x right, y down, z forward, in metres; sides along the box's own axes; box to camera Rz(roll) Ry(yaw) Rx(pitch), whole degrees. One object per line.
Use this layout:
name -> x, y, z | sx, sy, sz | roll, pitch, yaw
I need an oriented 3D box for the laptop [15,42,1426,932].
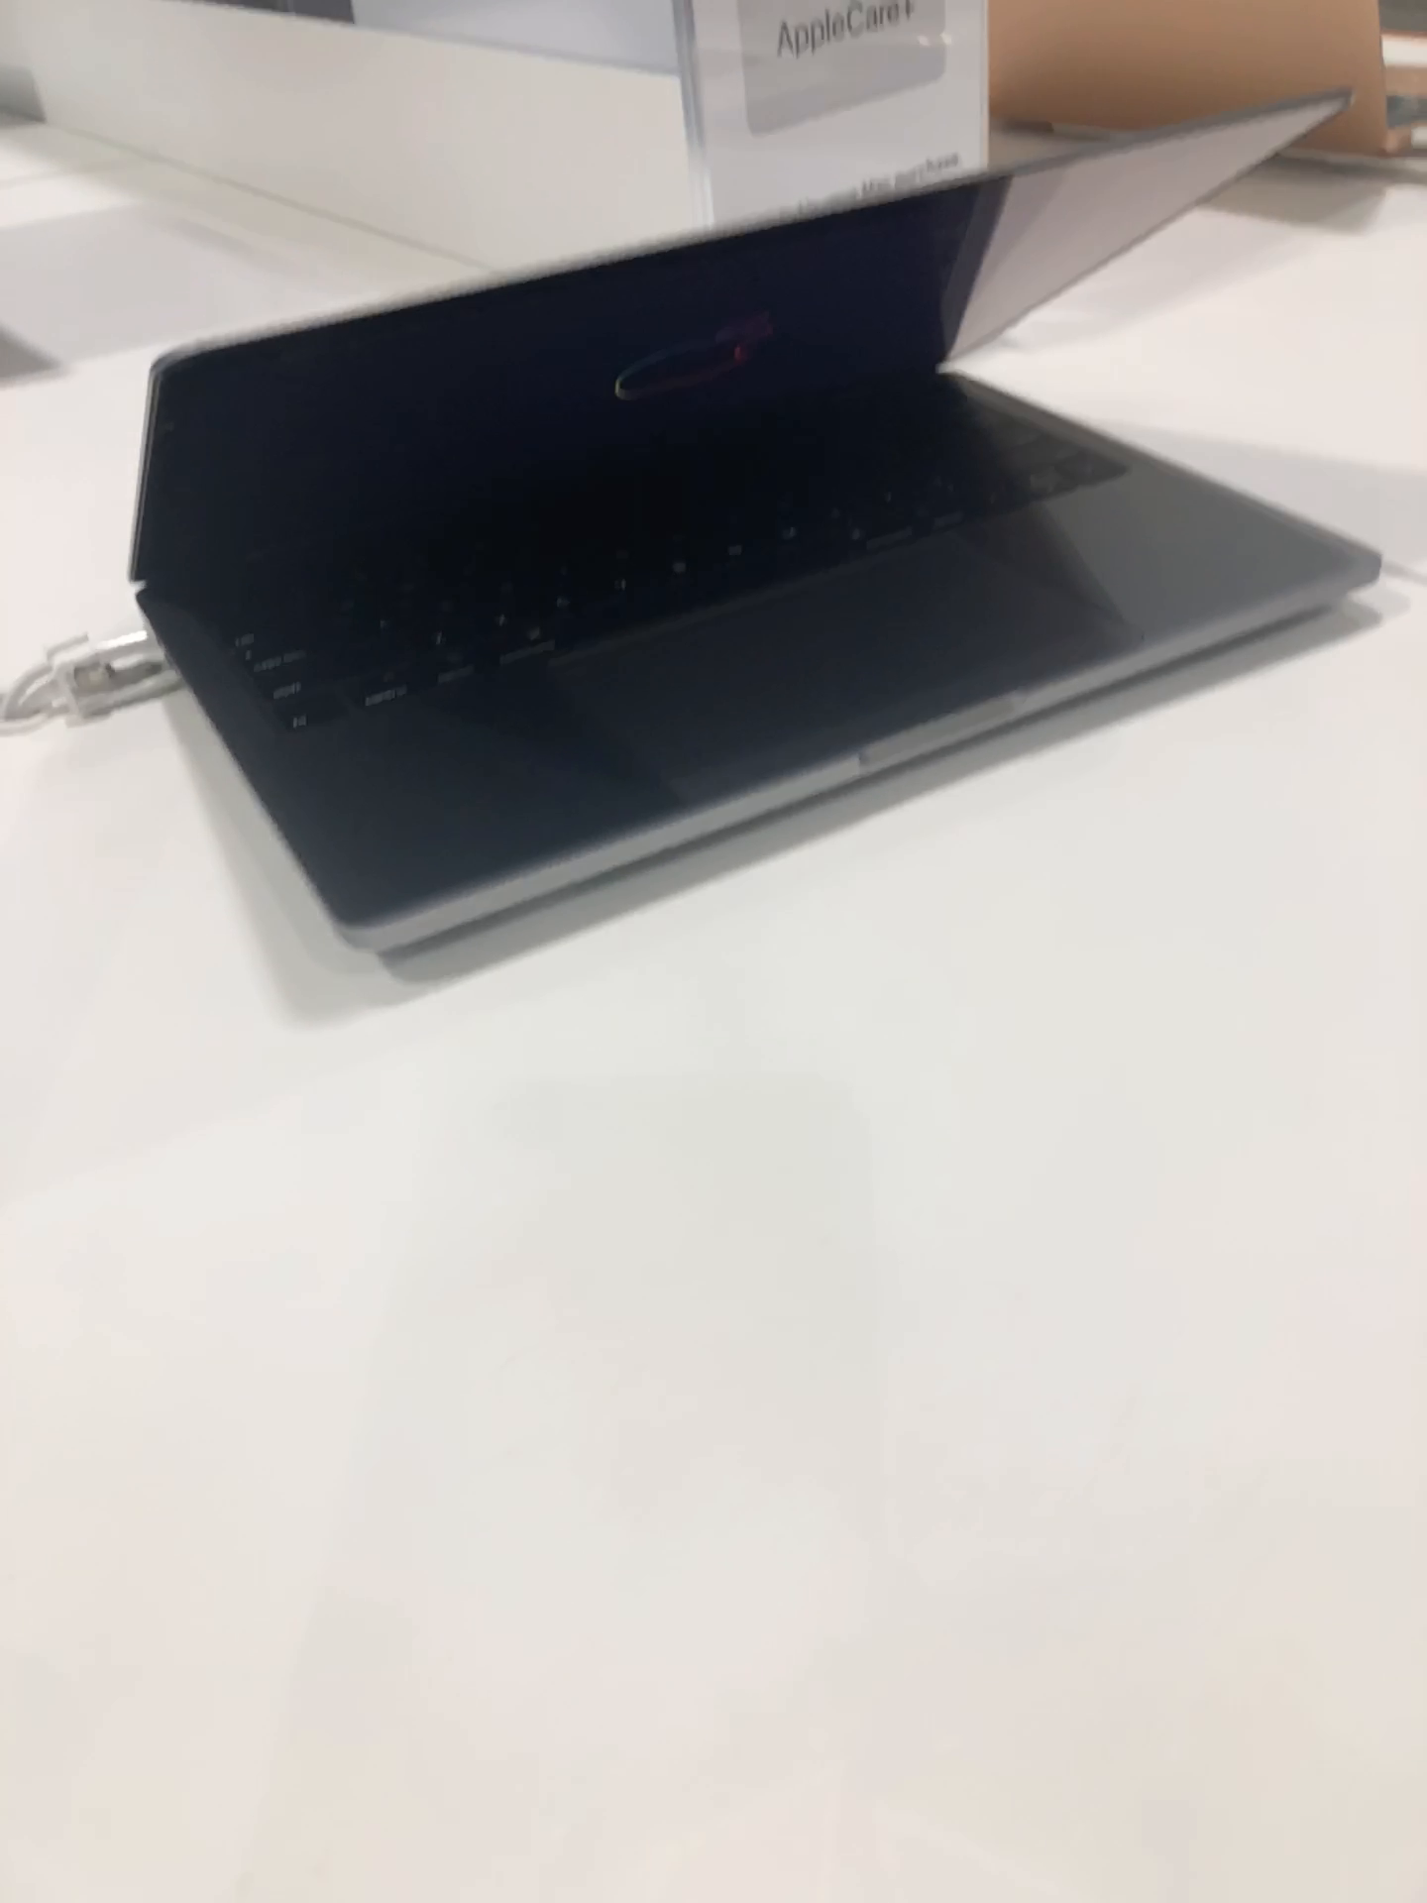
laptop -> -0.002, -0.151, 0.427 | 0.294, 0.109, 0.205 | -22, 41, -20
